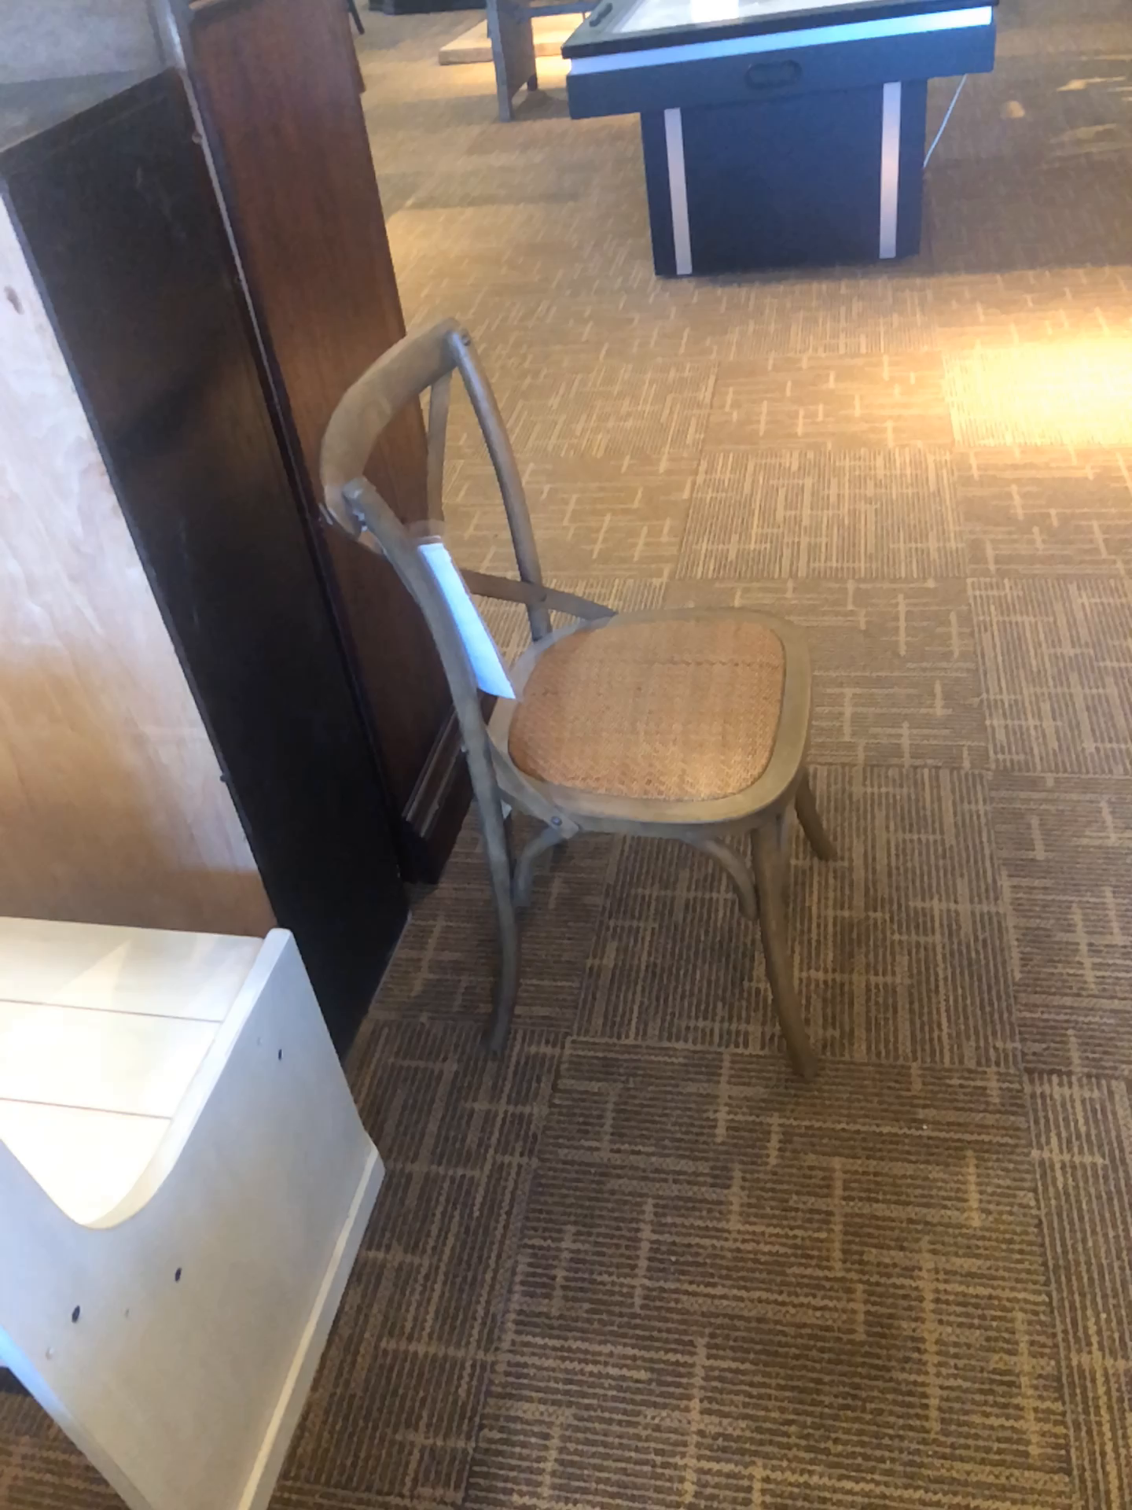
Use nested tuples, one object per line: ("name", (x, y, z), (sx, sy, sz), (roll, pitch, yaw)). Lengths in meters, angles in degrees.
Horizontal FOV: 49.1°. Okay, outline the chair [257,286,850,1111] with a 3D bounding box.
("chair", (0.066, -0.053, 1.544), (0.529, 0.861, 0.492), (2, 39, 13))
